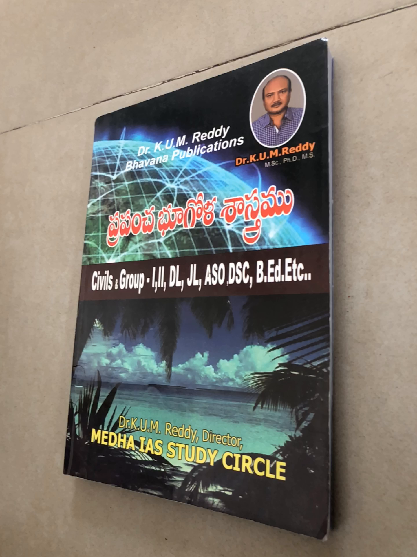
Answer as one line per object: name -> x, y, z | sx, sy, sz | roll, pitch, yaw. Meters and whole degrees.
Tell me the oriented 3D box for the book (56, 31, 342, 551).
book -> -0.012, 0.002, 0.289 | 0.181, 0.030, 0.260 | -4, 79, 32
